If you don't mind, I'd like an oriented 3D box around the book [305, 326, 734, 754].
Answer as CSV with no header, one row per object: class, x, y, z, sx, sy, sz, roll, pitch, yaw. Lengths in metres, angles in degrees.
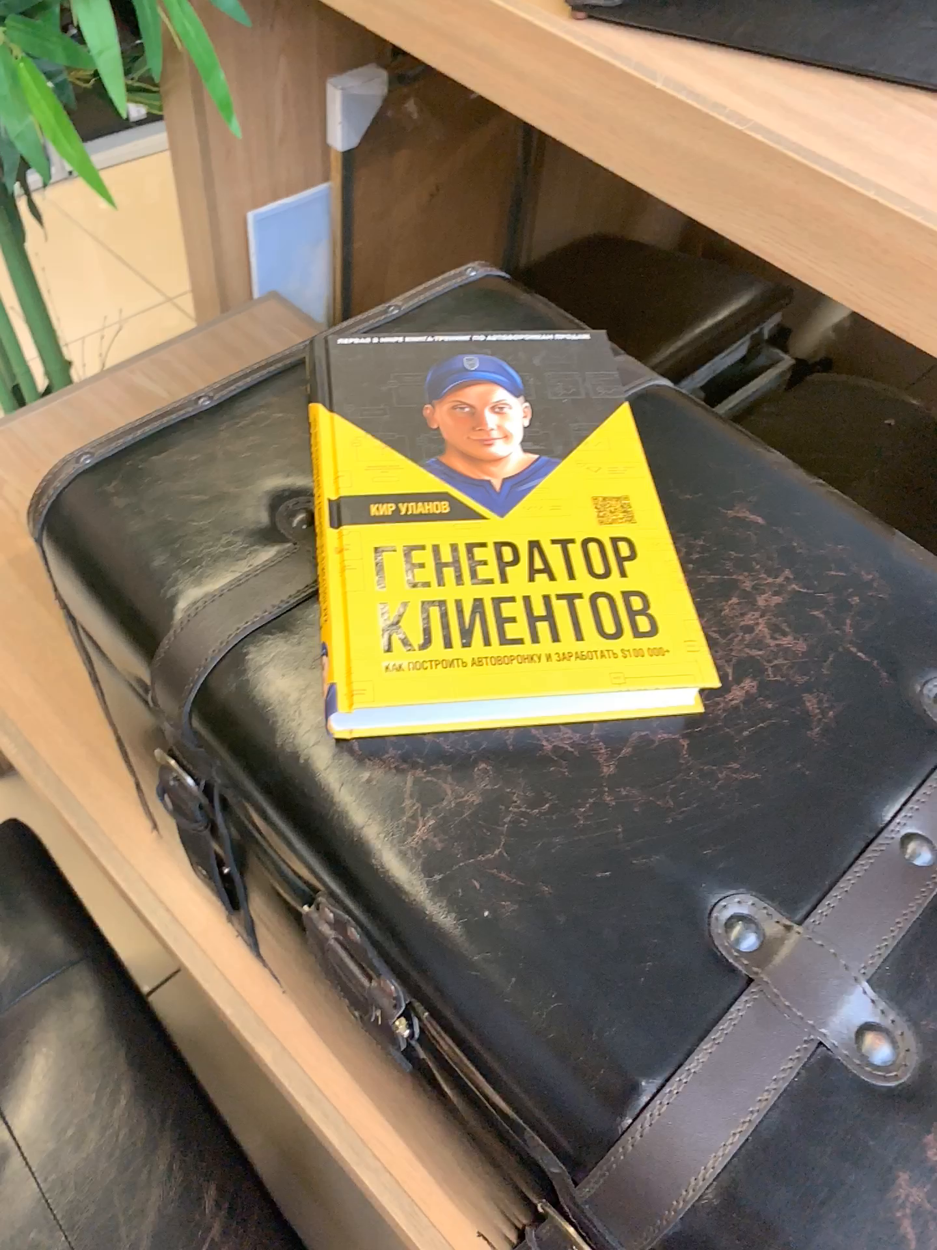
book,0.009,-0.057,0.466,0.167,0.030,0.243,-3,53,-7
